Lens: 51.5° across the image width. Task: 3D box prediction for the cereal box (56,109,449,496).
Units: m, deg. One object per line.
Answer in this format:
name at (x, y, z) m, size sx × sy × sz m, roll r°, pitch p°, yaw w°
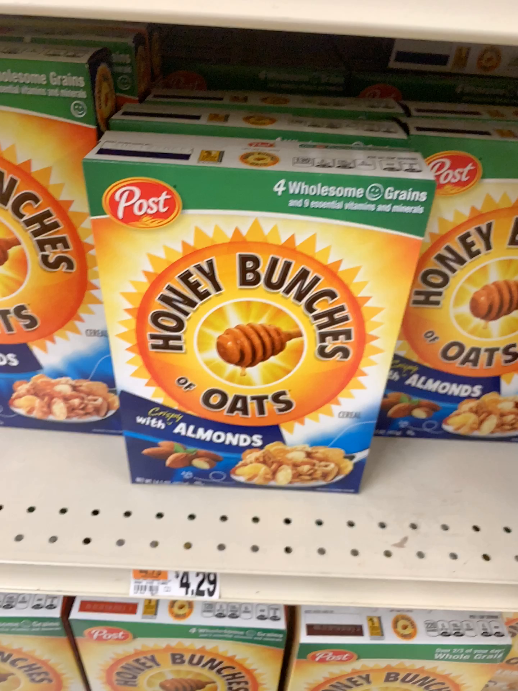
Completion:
cereal box at (-0.009, -0.008, 0.383) m, size 0.200 × 0.278 × 0.060 m, roll 3°, pitch 38°, yaw 0°
